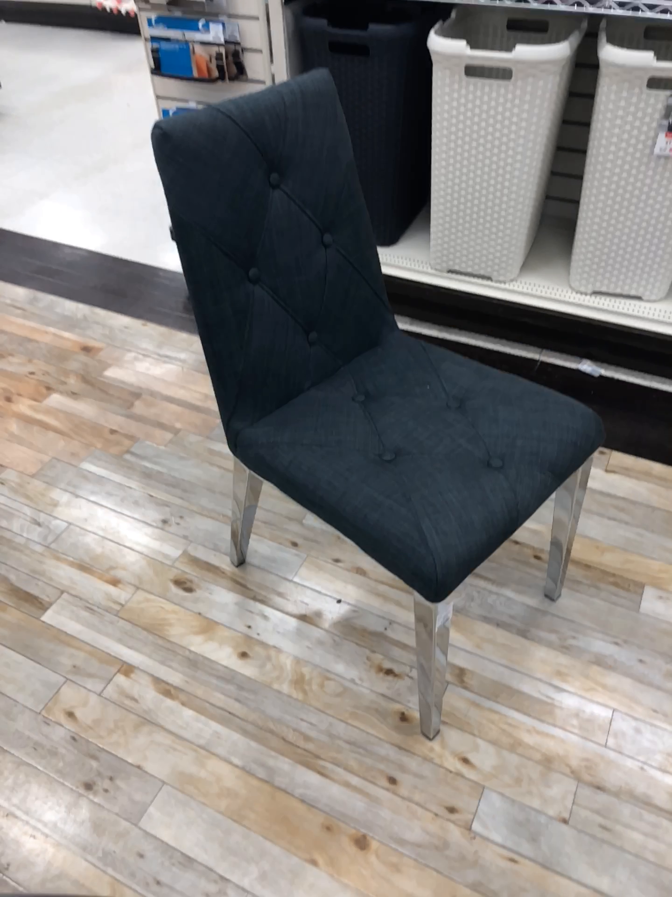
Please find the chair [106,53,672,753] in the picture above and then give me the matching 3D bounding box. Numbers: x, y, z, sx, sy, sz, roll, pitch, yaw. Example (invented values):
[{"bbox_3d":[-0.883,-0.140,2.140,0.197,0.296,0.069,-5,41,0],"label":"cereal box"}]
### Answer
[{"bbox_3d":[0.086,-0.069,1.196,0.581,0.867,0.451,31,51,32],"label":"chair"}]
